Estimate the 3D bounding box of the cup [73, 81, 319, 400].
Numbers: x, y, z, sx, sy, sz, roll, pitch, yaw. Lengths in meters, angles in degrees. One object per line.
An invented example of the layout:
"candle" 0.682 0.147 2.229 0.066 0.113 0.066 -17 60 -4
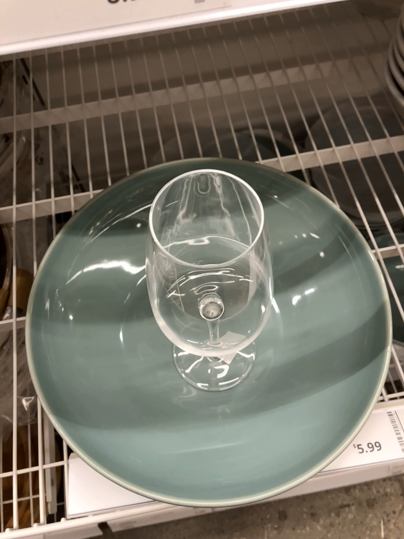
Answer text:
"cup" 0.007 0.010 0.359 0.100 0.280 0.100 -1 62 3
